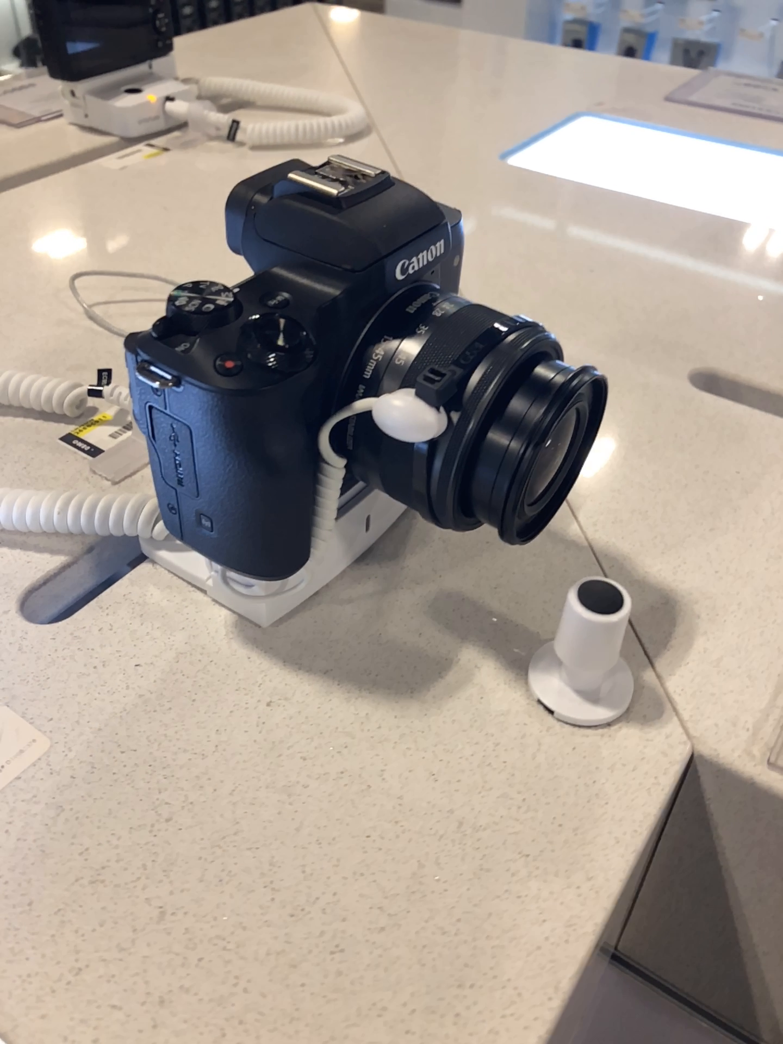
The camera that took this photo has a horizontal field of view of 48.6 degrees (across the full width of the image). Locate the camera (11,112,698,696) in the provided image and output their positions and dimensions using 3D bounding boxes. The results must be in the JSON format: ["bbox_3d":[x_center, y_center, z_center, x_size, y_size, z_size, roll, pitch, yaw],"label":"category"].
[{"bbox_3d":[-0.004,-0.047,0.246,0.120,0.079,0.131,25,47,25],"label":"camera"}]
